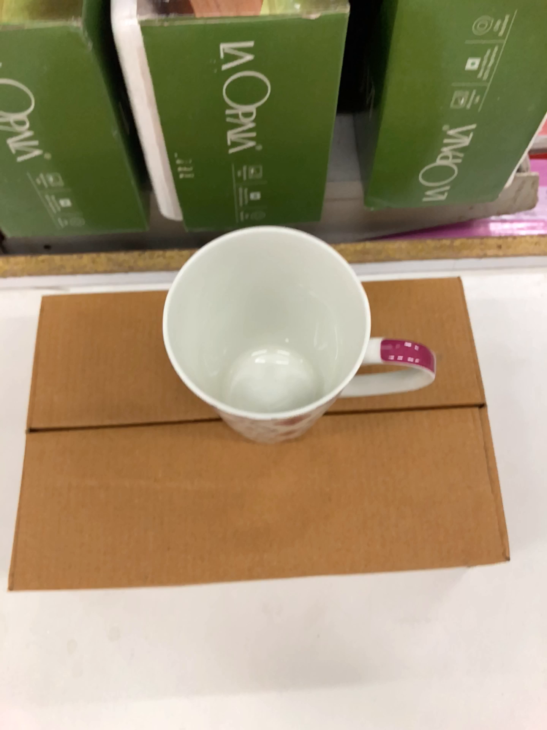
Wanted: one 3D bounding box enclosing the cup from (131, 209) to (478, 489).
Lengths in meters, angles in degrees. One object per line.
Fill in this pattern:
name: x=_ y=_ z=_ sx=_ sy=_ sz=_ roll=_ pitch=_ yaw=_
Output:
cup: x=0.014 y=0.000 z=0.273 sx=0.120 sy=0.100 sz=0.080 roll=5 pitch=67 yaw=2
